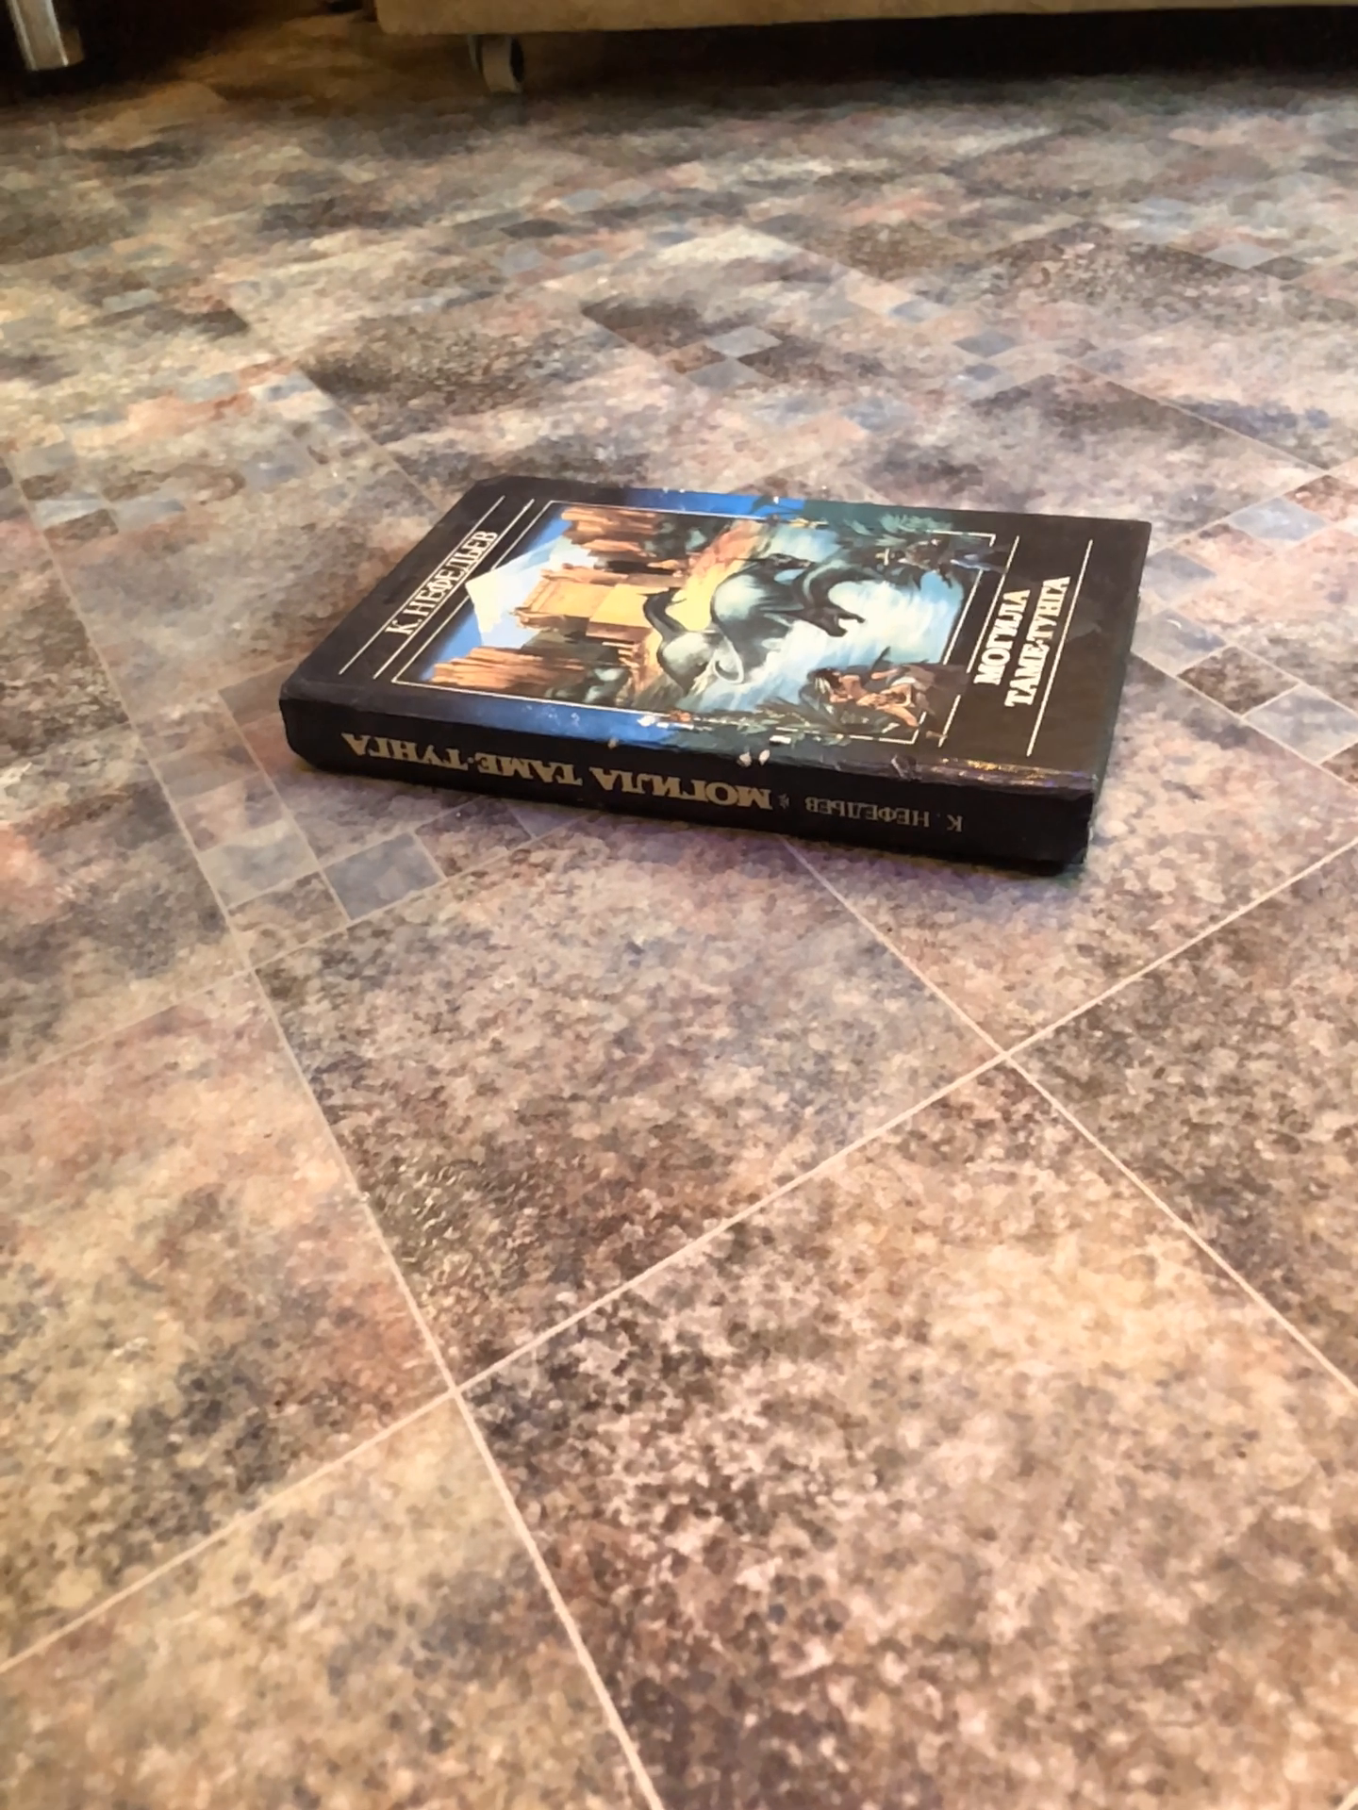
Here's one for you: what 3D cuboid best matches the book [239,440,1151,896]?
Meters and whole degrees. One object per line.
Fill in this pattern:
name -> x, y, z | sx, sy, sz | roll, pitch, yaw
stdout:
book -> 0.011, -0.073, 0.397 | 0.202, 0.030, 0.139 | 10, 42, 17
